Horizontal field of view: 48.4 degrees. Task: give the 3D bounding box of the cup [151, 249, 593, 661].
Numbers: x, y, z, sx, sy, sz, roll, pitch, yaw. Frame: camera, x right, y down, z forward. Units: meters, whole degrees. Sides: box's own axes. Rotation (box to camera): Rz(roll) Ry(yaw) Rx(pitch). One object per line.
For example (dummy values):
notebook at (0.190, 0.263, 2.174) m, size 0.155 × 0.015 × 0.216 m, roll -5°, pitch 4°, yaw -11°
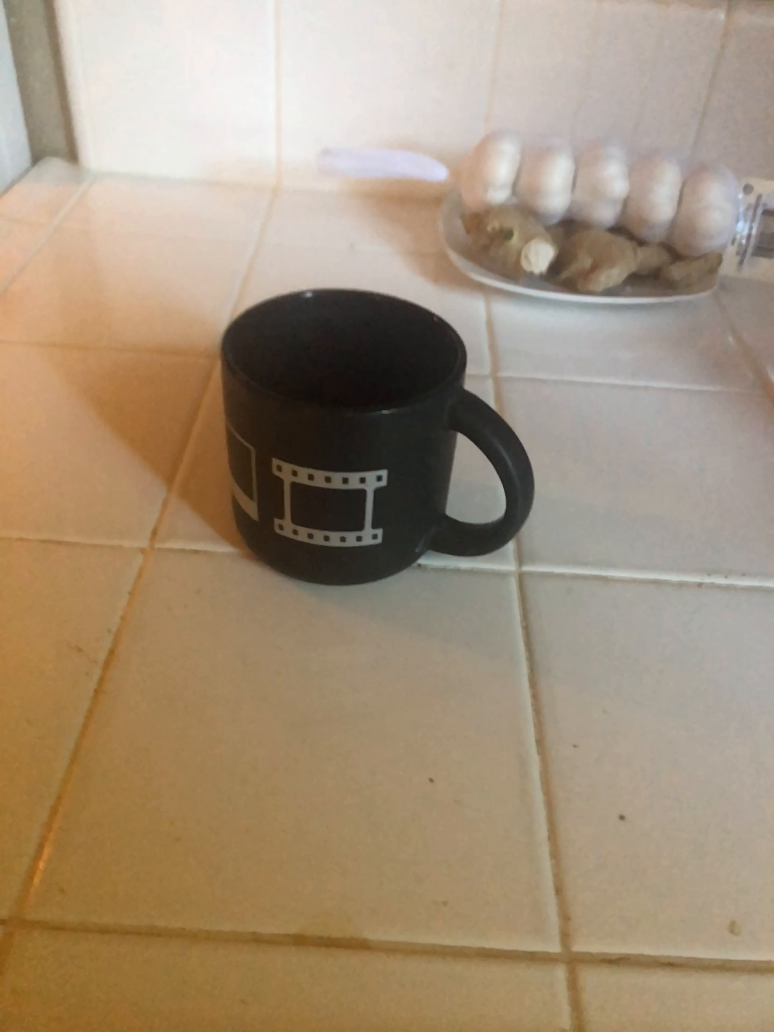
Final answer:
cup at (-0.005, -0.029, 0.335) m, size 0.130 × 0.089 × 0.091 m, roll 21°, pitch 43°, yaw 17°
